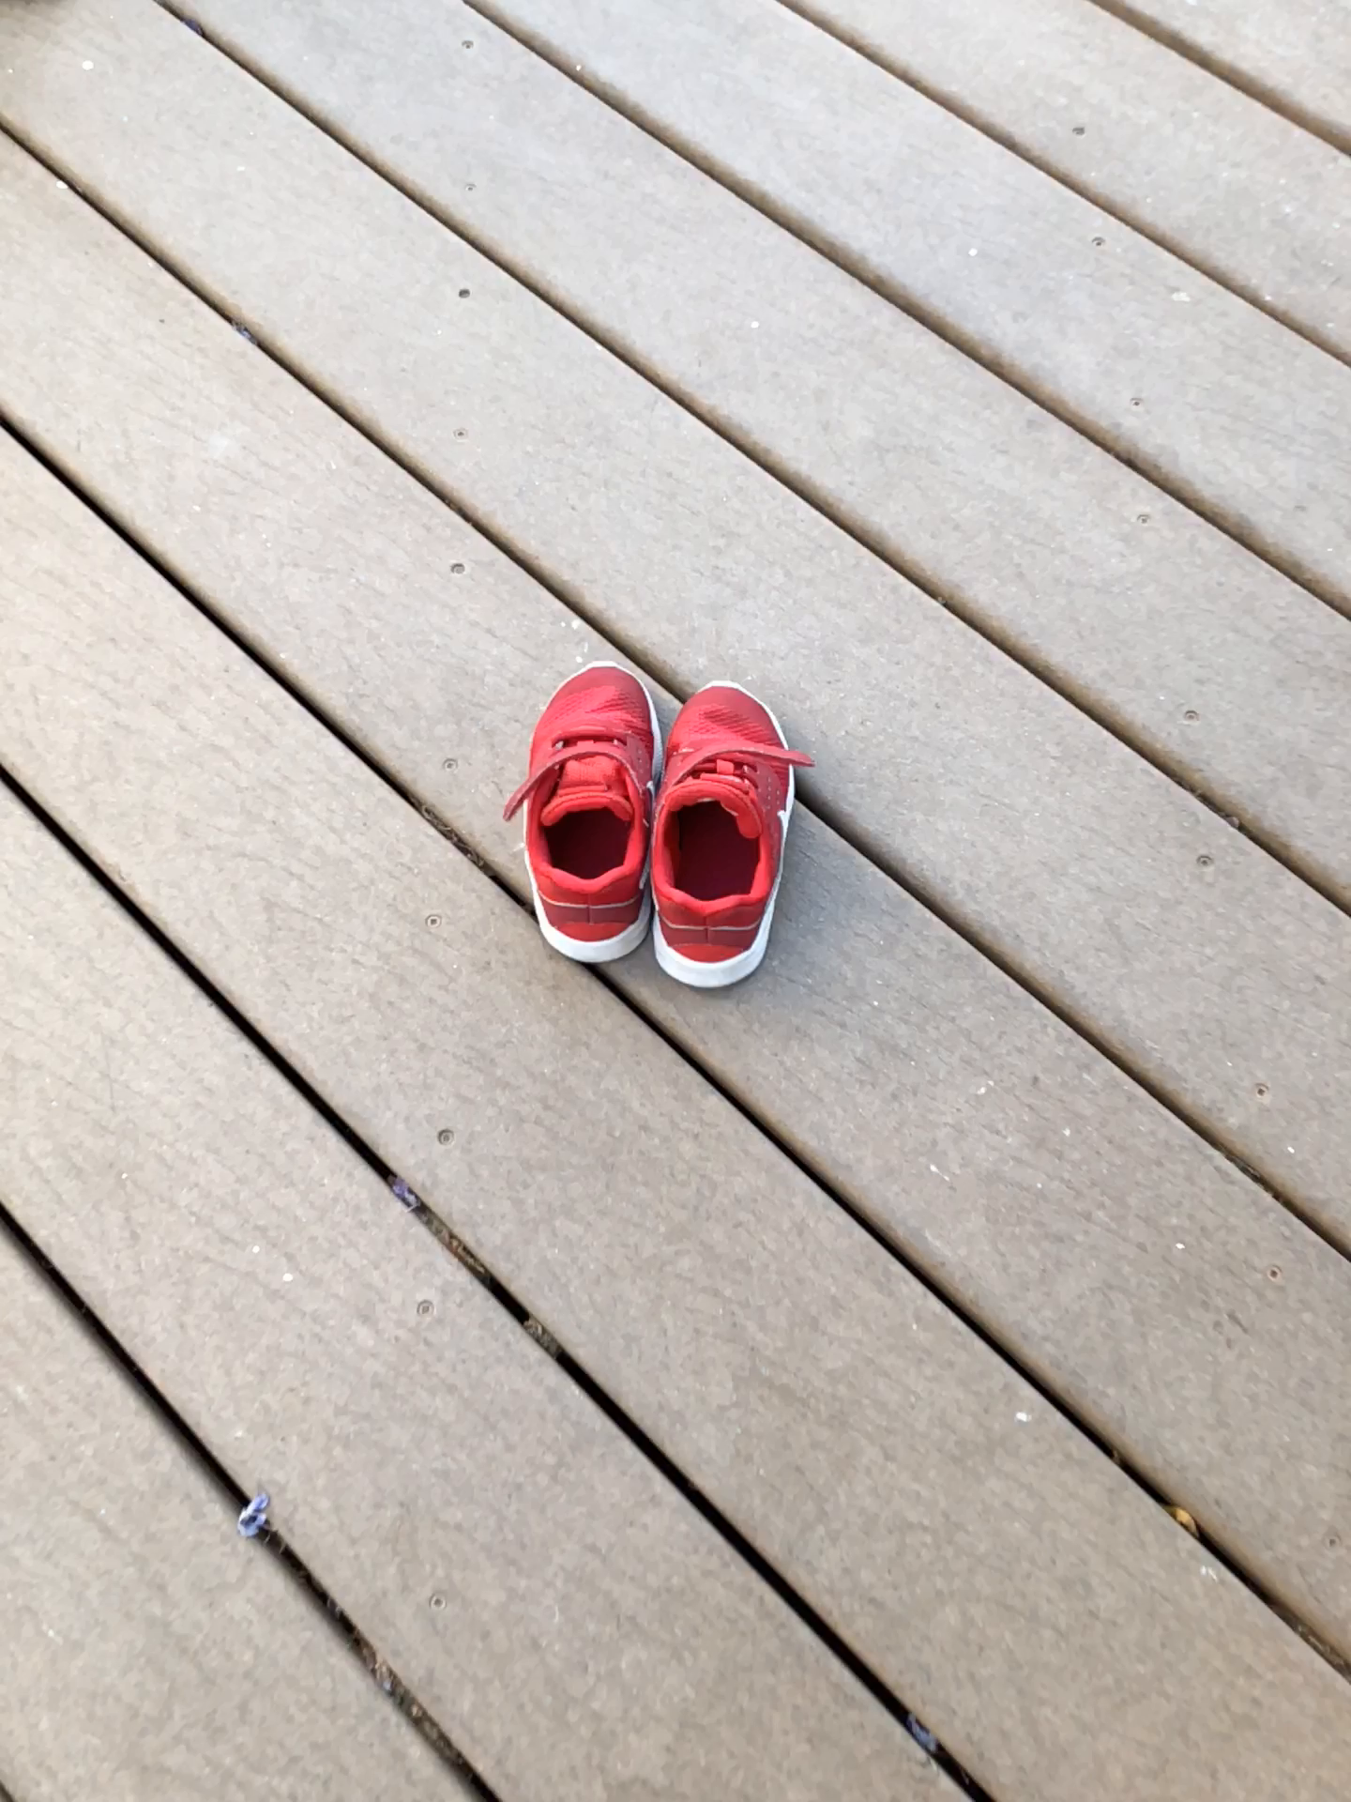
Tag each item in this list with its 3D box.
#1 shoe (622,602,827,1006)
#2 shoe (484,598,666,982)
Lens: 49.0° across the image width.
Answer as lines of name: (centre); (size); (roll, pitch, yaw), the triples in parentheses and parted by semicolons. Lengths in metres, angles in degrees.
shoe: (0.025, -0.046, 0.717); (0.077, 0.087, 0.167); (6, 68, 3)
shoe: (-0.045, -0.054, 0.730); (0.077, 0.087, 0.167); (0, 68, 1)
